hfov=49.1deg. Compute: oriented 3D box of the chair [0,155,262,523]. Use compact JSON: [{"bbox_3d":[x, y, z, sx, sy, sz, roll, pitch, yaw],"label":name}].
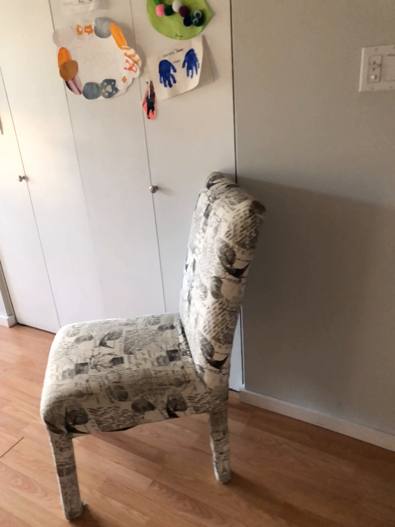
[{"bbox_3d":[-0.192,0.217,1.446,0.670,0.997,0.522,-7,23,-7],"label":"chair"}]
